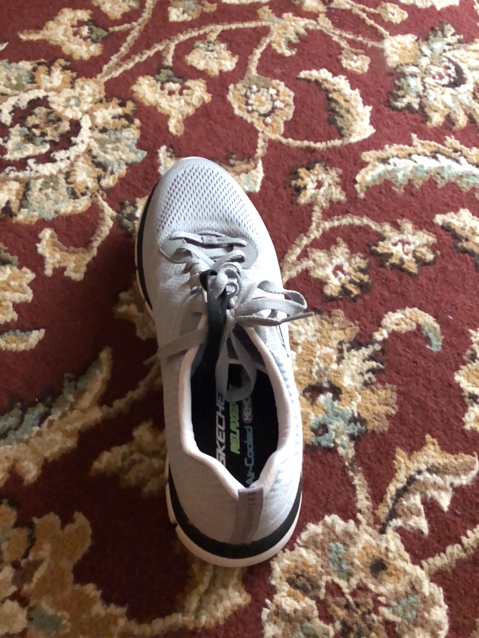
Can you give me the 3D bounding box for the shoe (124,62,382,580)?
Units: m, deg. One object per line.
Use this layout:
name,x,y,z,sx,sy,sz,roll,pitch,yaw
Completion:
shoe,-0.014,-0.008,0.340,0.100,0.130,0.300,-4,62,-8
